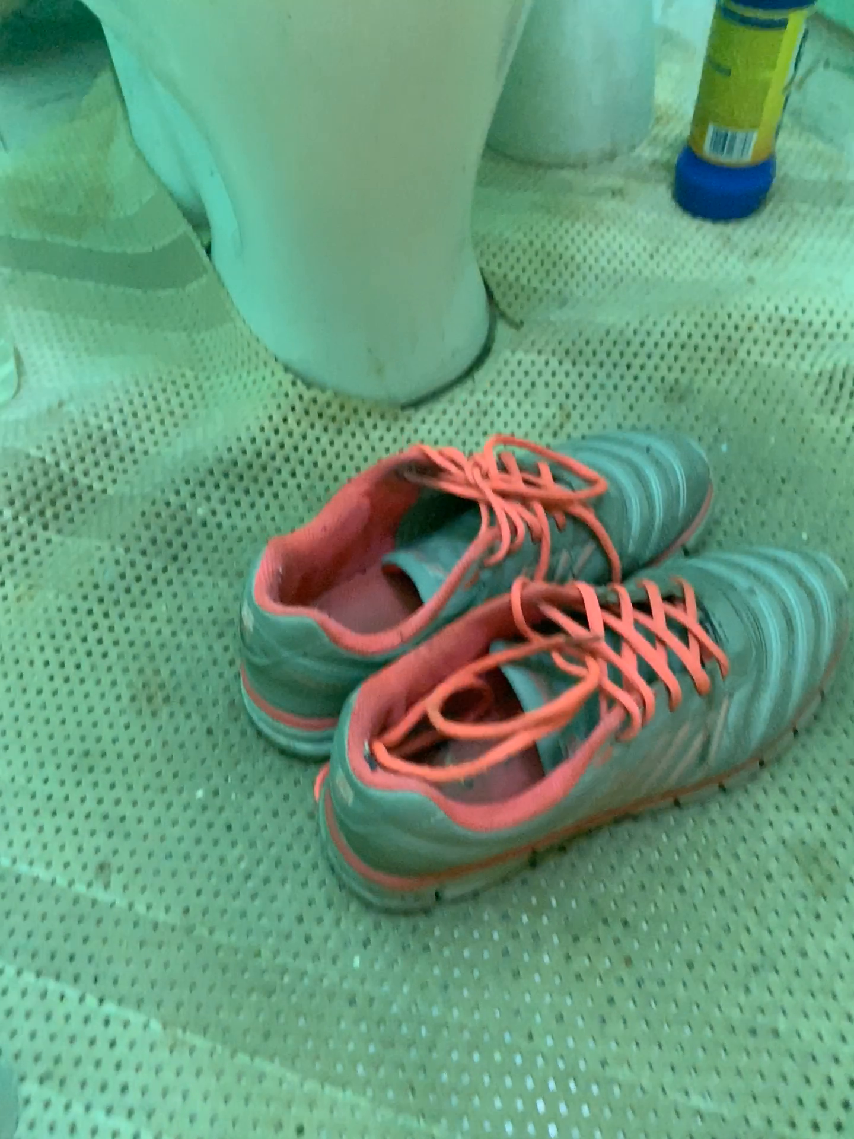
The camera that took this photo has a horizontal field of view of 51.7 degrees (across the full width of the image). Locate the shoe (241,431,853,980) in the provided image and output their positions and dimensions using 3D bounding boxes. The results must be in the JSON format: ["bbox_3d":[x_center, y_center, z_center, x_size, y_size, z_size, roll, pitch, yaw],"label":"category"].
[{"bbox_3d":[0.074,0.054,0.381,0.268,0.090,0.110,-23,58,-10],"label":"shoe"}]

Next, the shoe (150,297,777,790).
[{"bbox_3d":[0.021,-0.019,0.442,0.270,0.090,0.110,-28,59,-13],"label":"shoe"}]
